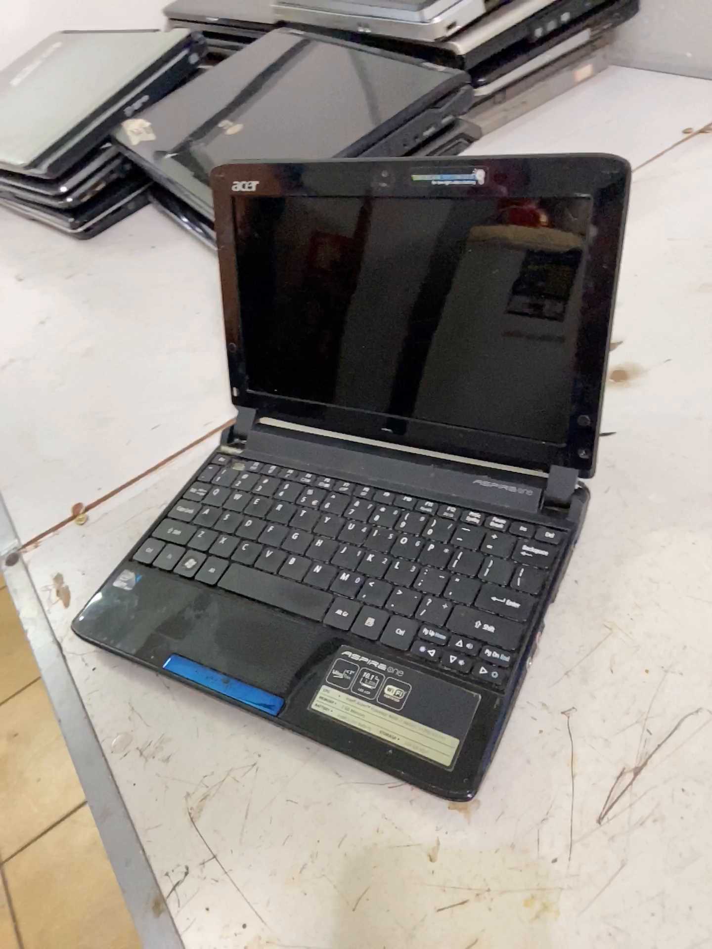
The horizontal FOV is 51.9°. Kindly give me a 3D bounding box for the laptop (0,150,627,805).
[{"bbox_3d":[-0.023,-0.029,0.385,0.253,0.144,0.260,12,54,30],"label":"laptop"}]
